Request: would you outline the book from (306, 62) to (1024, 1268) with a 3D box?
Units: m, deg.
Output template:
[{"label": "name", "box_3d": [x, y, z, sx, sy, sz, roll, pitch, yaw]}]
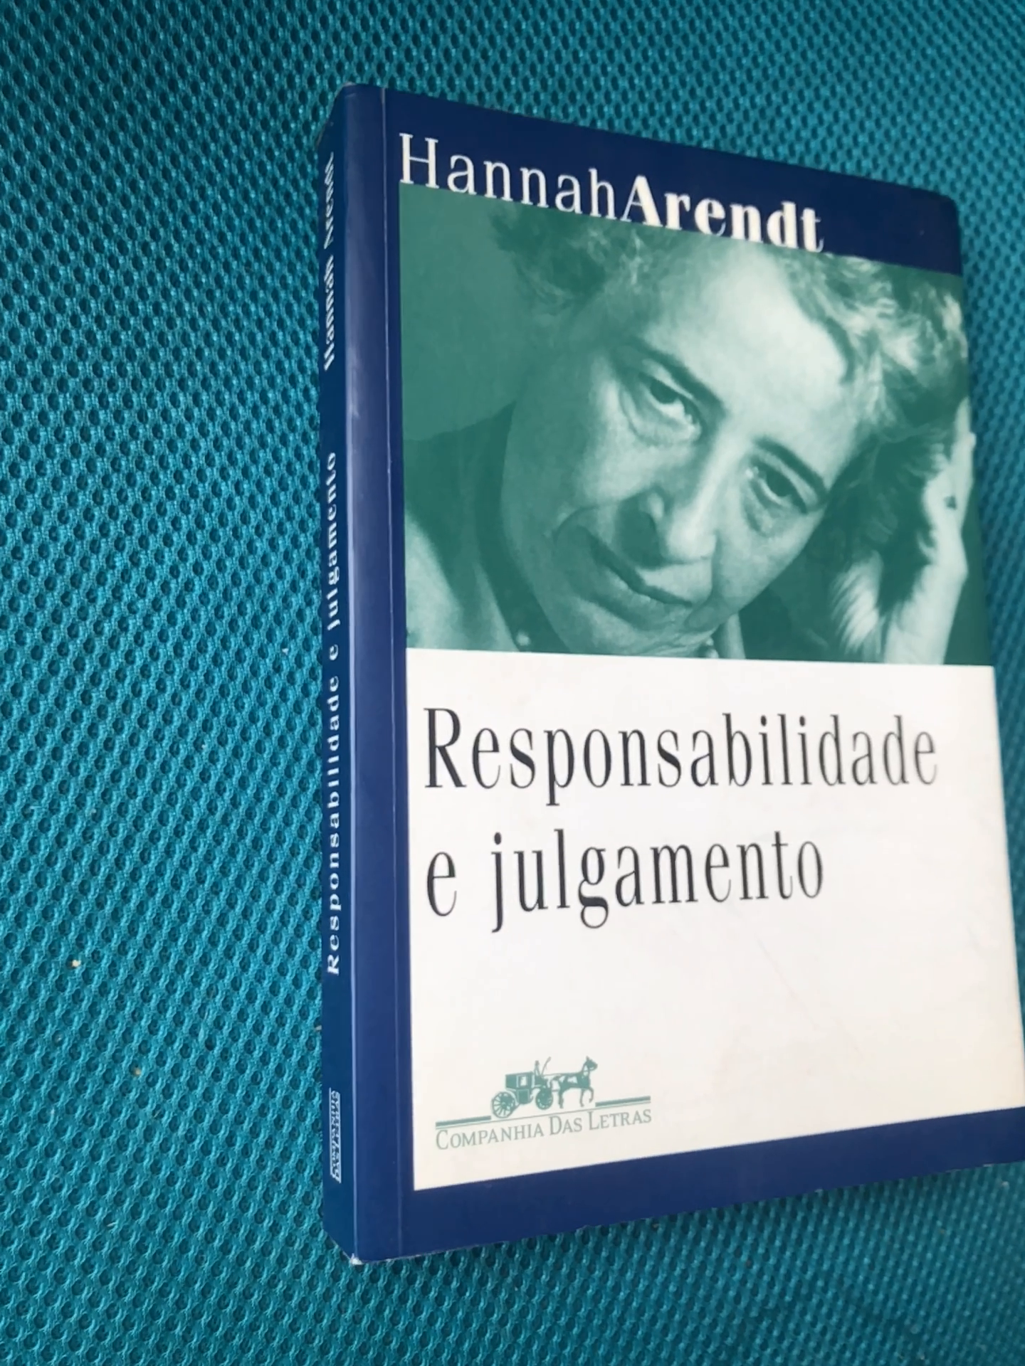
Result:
[{"label": "book", "box_3d": [0.031, -0.007, 0.236, 0.142, 0.035, 0.209, 1, 82, -19]}]
